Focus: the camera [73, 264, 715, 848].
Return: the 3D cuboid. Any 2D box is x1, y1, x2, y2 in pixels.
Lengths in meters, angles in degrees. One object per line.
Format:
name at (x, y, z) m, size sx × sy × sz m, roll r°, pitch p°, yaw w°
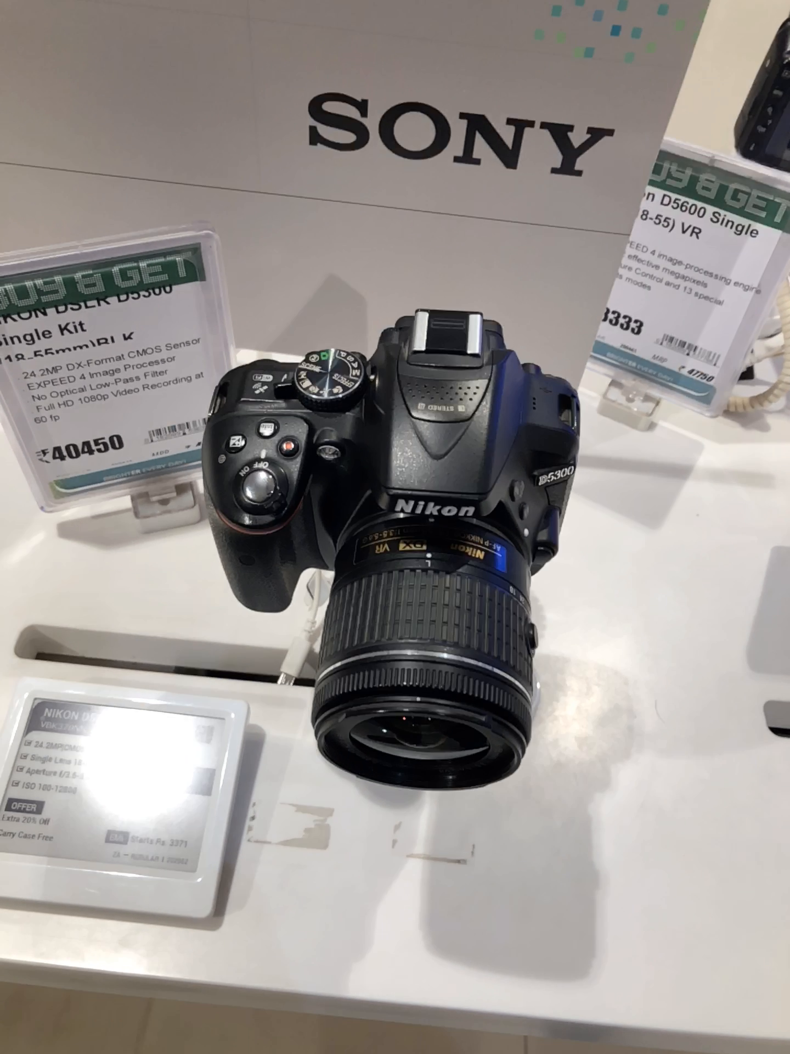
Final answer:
camera at (0.000, 0.008, 0.274) m, size 0.140 × 0.099 × 0.141 m, roll 4°, pitch 52°, yaw -2°
